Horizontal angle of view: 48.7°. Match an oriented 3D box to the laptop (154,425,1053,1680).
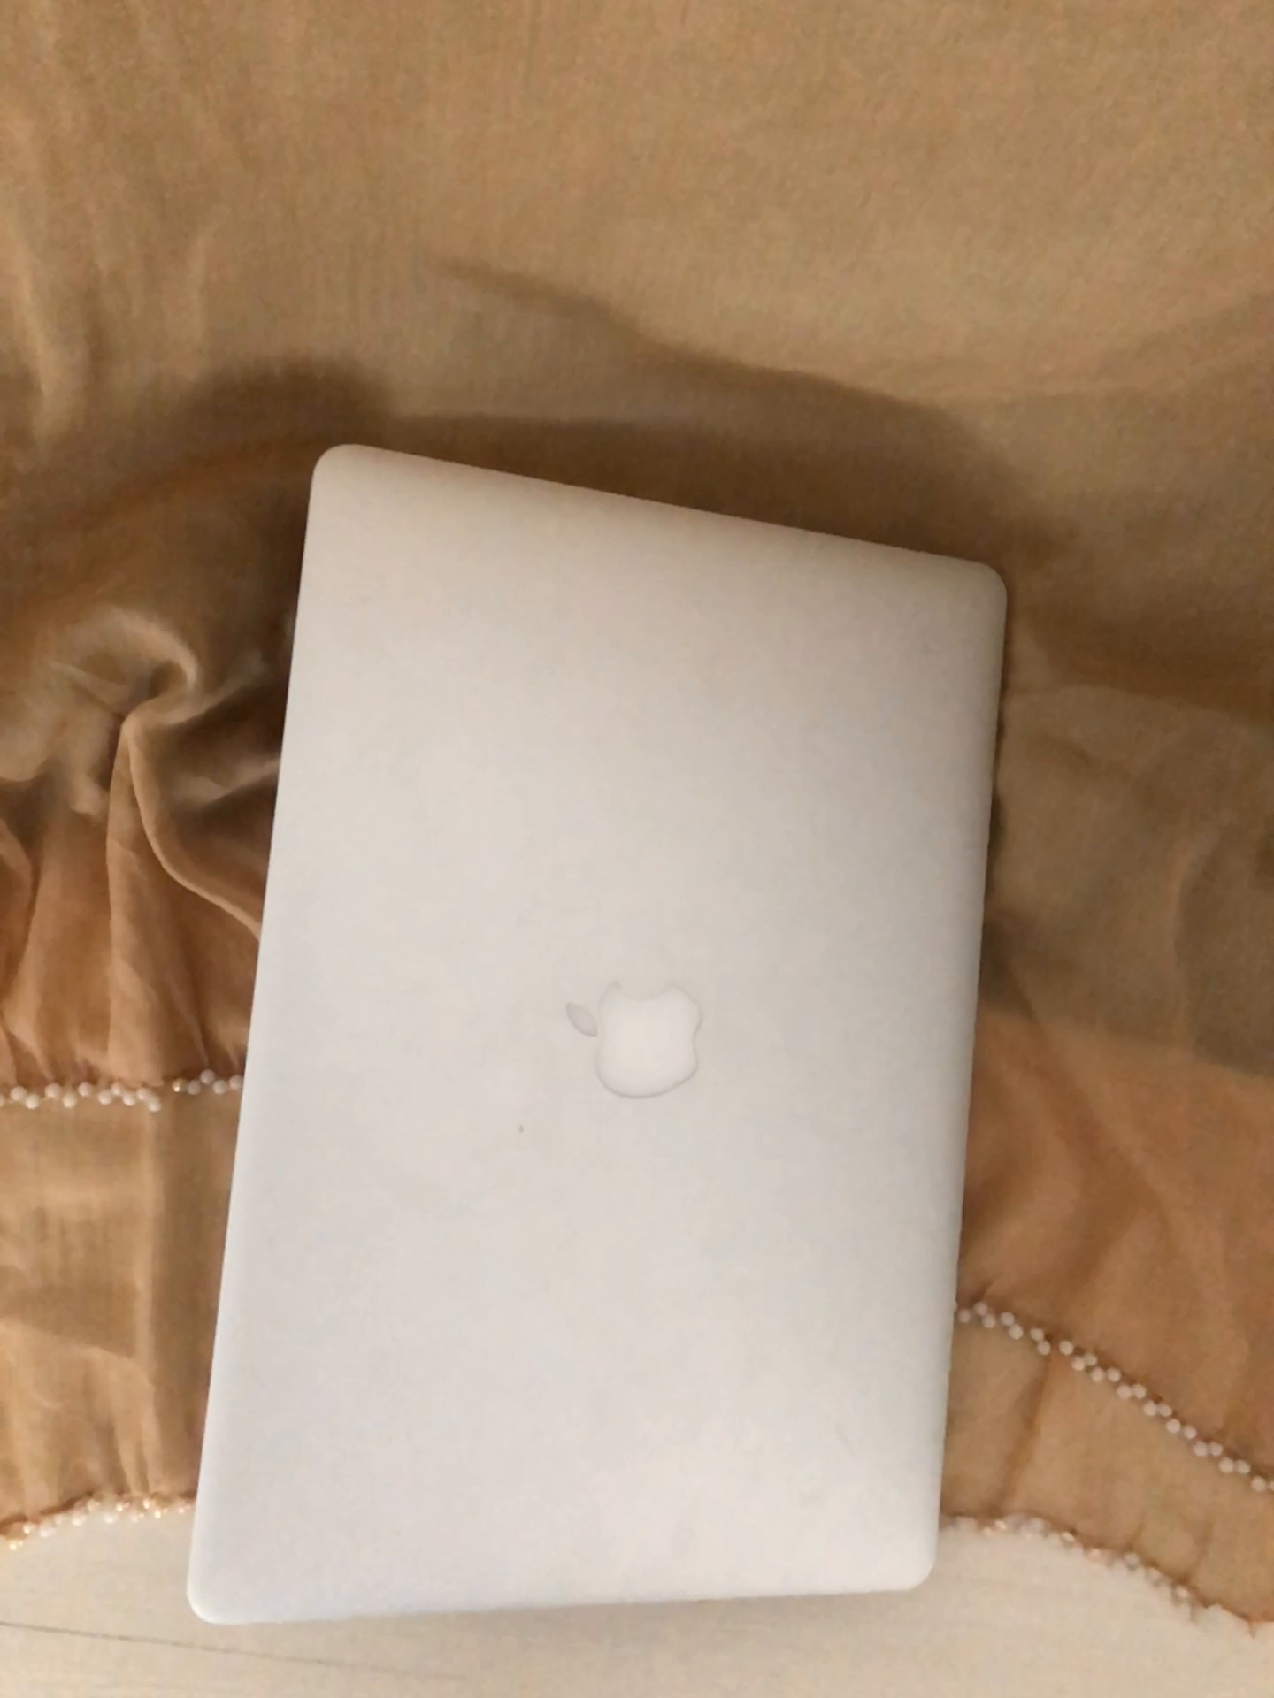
[{"bbox_3d":[-0.005,0.059,0.456,0.239,0.064,0.351,6,85,-2],"label":"laptop"}]
